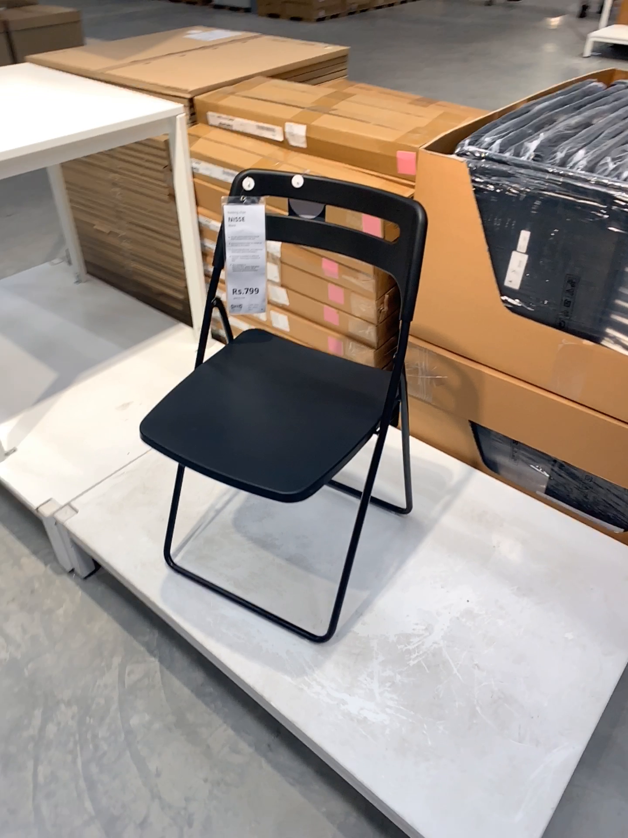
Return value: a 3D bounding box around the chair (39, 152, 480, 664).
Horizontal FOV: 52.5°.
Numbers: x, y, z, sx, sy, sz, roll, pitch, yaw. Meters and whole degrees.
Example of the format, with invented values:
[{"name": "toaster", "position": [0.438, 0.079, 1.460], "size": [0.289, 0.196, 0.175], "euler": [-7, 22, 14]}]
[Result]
[{"name": "chair", "position": [-0.056, -0.033, 1.122], "size": [0.461, 0.657, 0.451], "euler": [20, 43, 23]}]
